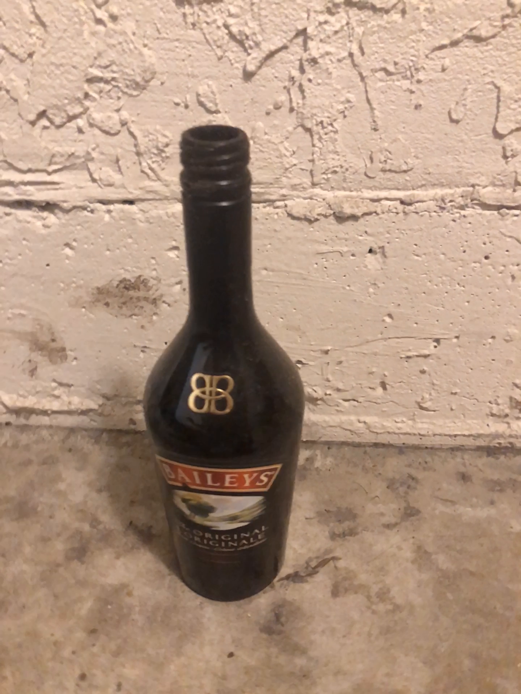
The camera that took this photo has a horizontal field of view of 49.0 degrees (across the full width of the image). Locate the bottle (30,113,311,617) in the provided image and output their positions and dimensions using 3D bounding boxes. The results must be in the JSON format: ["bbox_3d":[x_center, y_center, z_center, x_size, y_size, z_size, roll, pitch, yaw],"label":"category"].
[{"bbox_3d":[-0.023,0.026,0.295,0.090,0.258,0.081,3,36,8],"label":"bottle"}]
